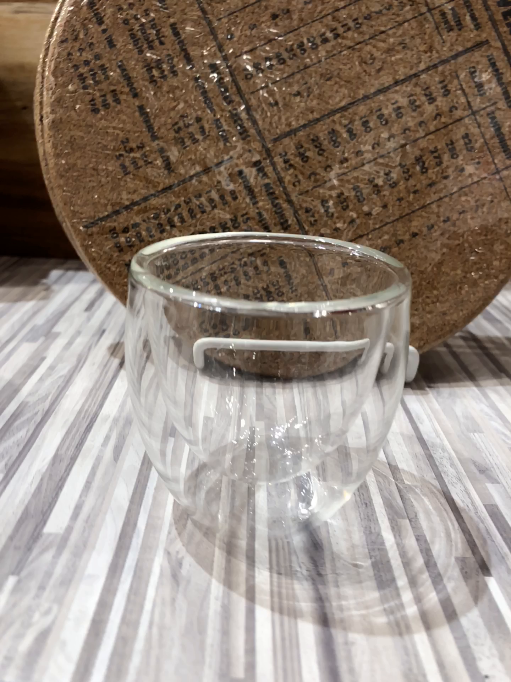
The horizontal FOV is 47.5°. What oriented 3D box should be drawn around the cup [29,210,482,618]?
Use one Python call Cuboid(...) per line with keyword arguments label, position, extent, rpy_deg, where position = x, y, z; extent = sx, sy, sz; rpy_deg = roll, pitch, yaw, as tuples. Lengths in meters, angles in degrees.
Cuboid(label="cup", position=(0.004, 0.004, 0.132), extent=(0.070, 0.050, 0.070), rpy_deg=(2, 22, -1))
